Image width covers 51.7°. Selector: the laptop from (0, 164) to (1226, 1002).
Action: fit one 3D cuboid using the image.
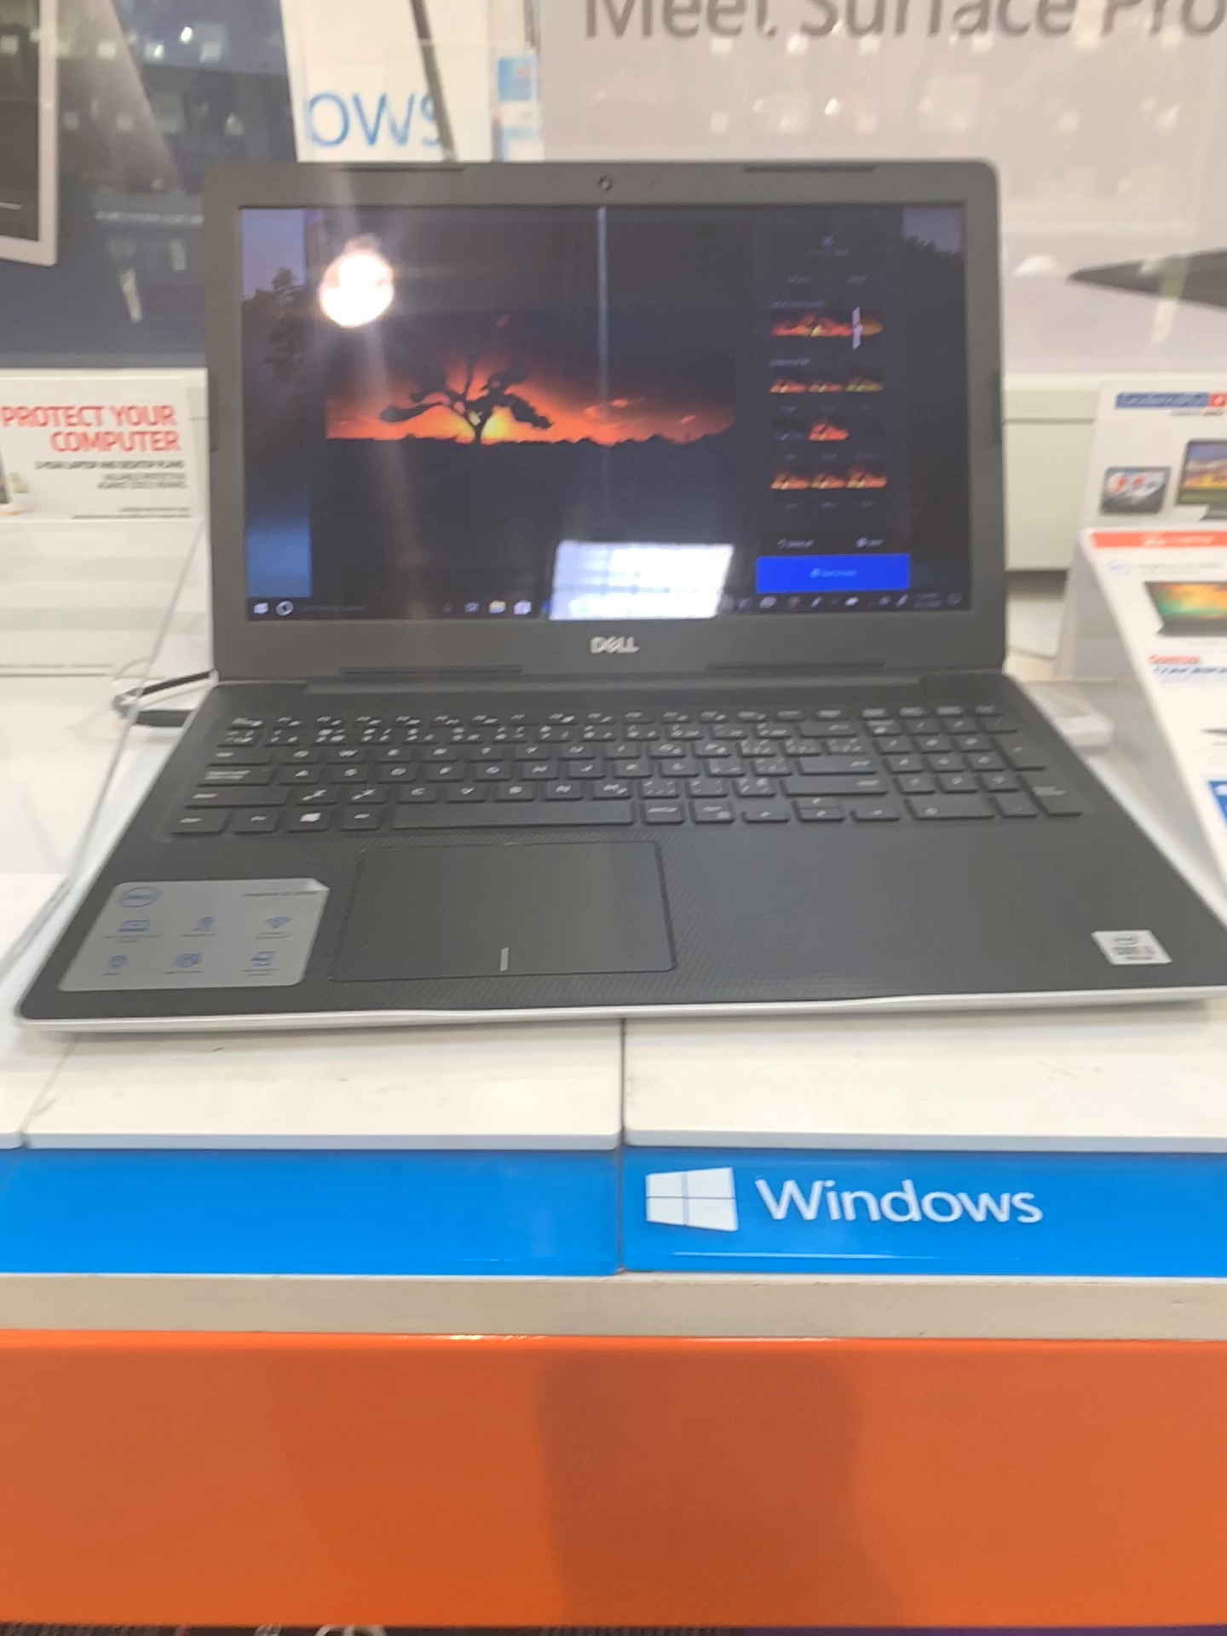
[{"bbox_3d":[0.008,-0.121,0.468,0.357,0.205,0.344,-1,28,-3],"label":"laptop"}]
